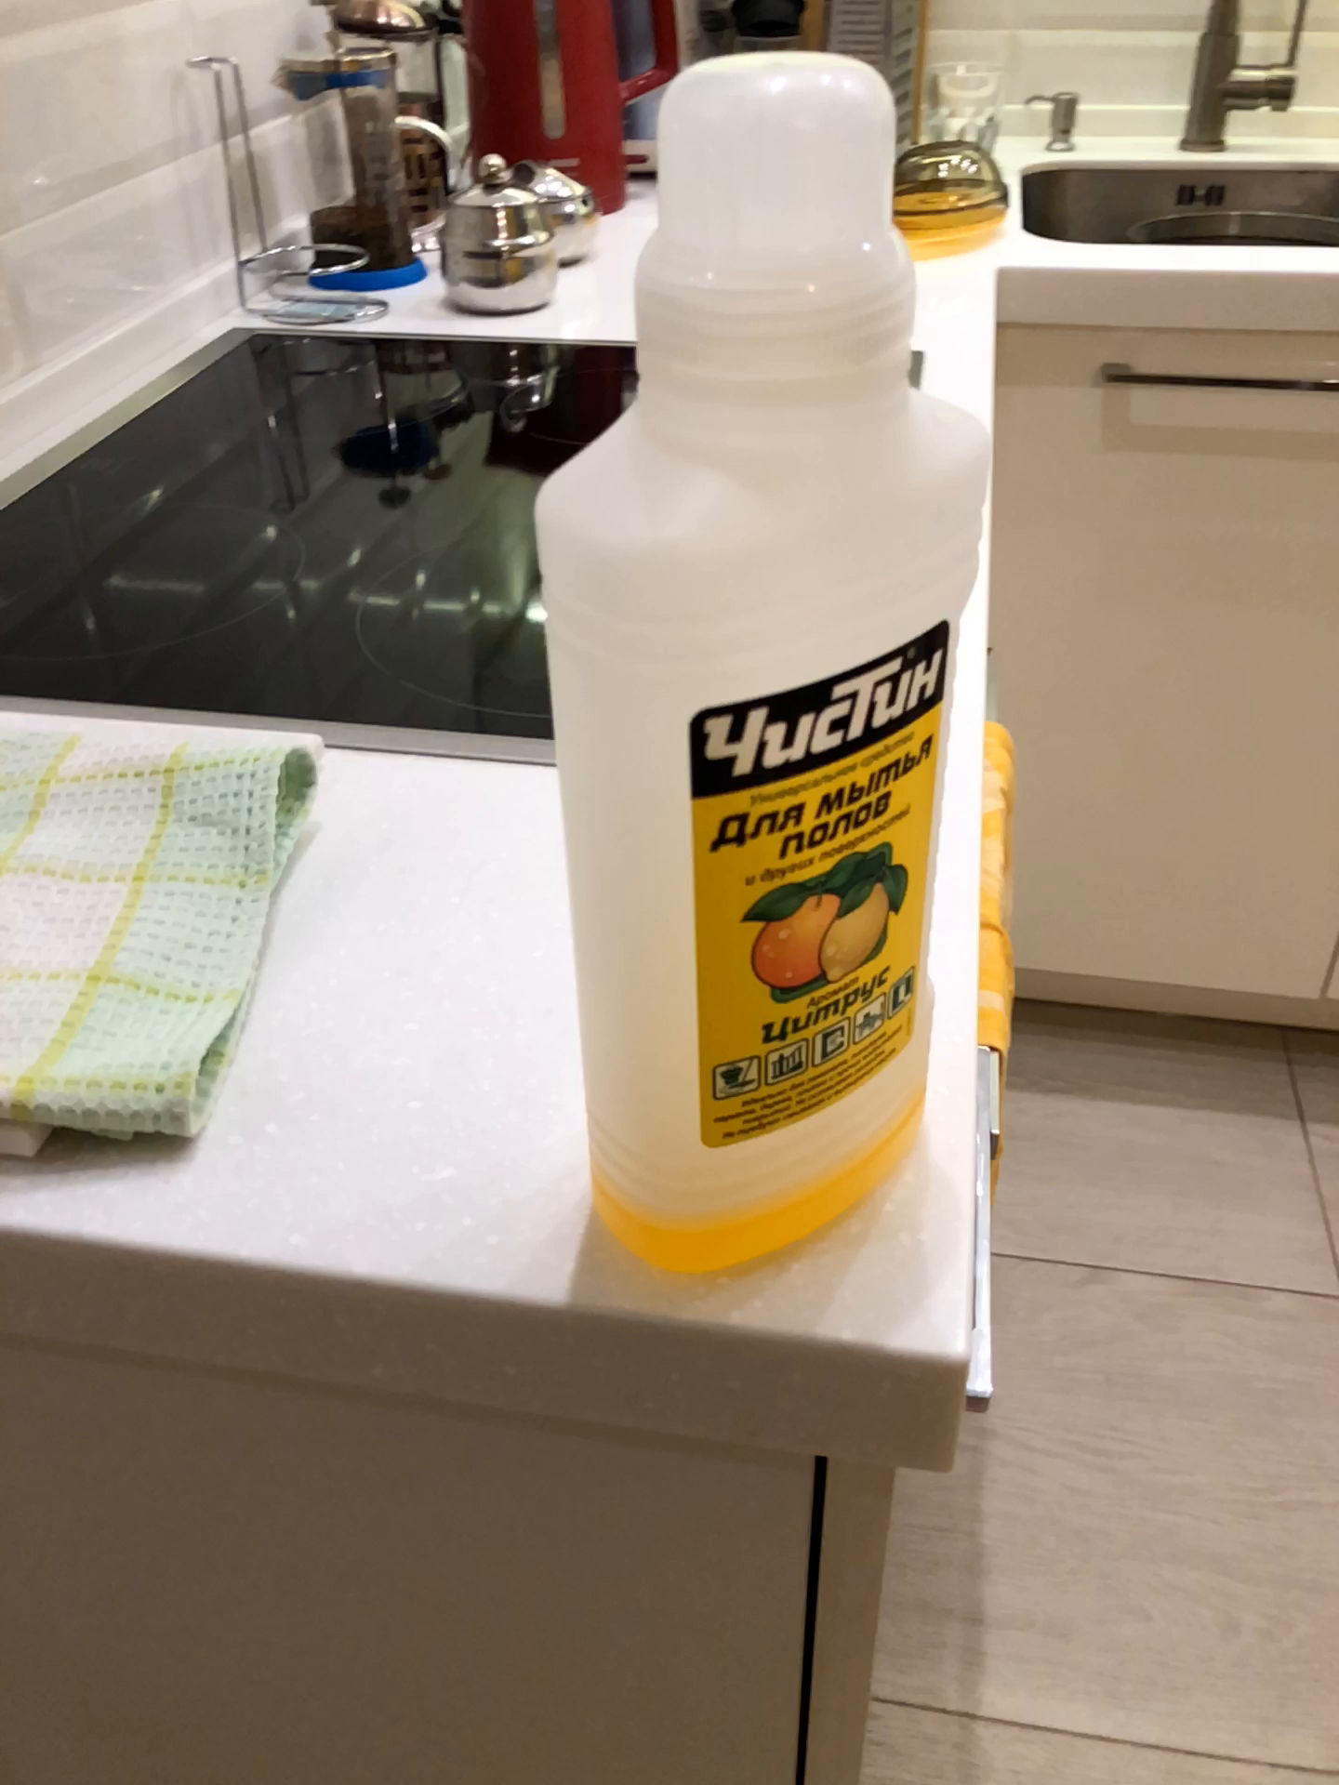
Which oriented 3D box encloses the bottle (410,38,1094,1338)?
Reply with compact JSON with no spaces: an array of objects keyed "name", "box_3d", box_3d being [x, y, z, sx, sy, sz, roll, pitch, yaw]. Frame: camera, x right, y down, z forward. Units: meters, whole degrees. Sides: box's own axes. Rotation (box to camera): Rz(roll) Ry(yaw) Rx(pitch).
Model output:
[{"name":"bottle","box_3d":[0.018,-0.032,0.326,0.102,0.264,0.061,-25,41,-30]}]
